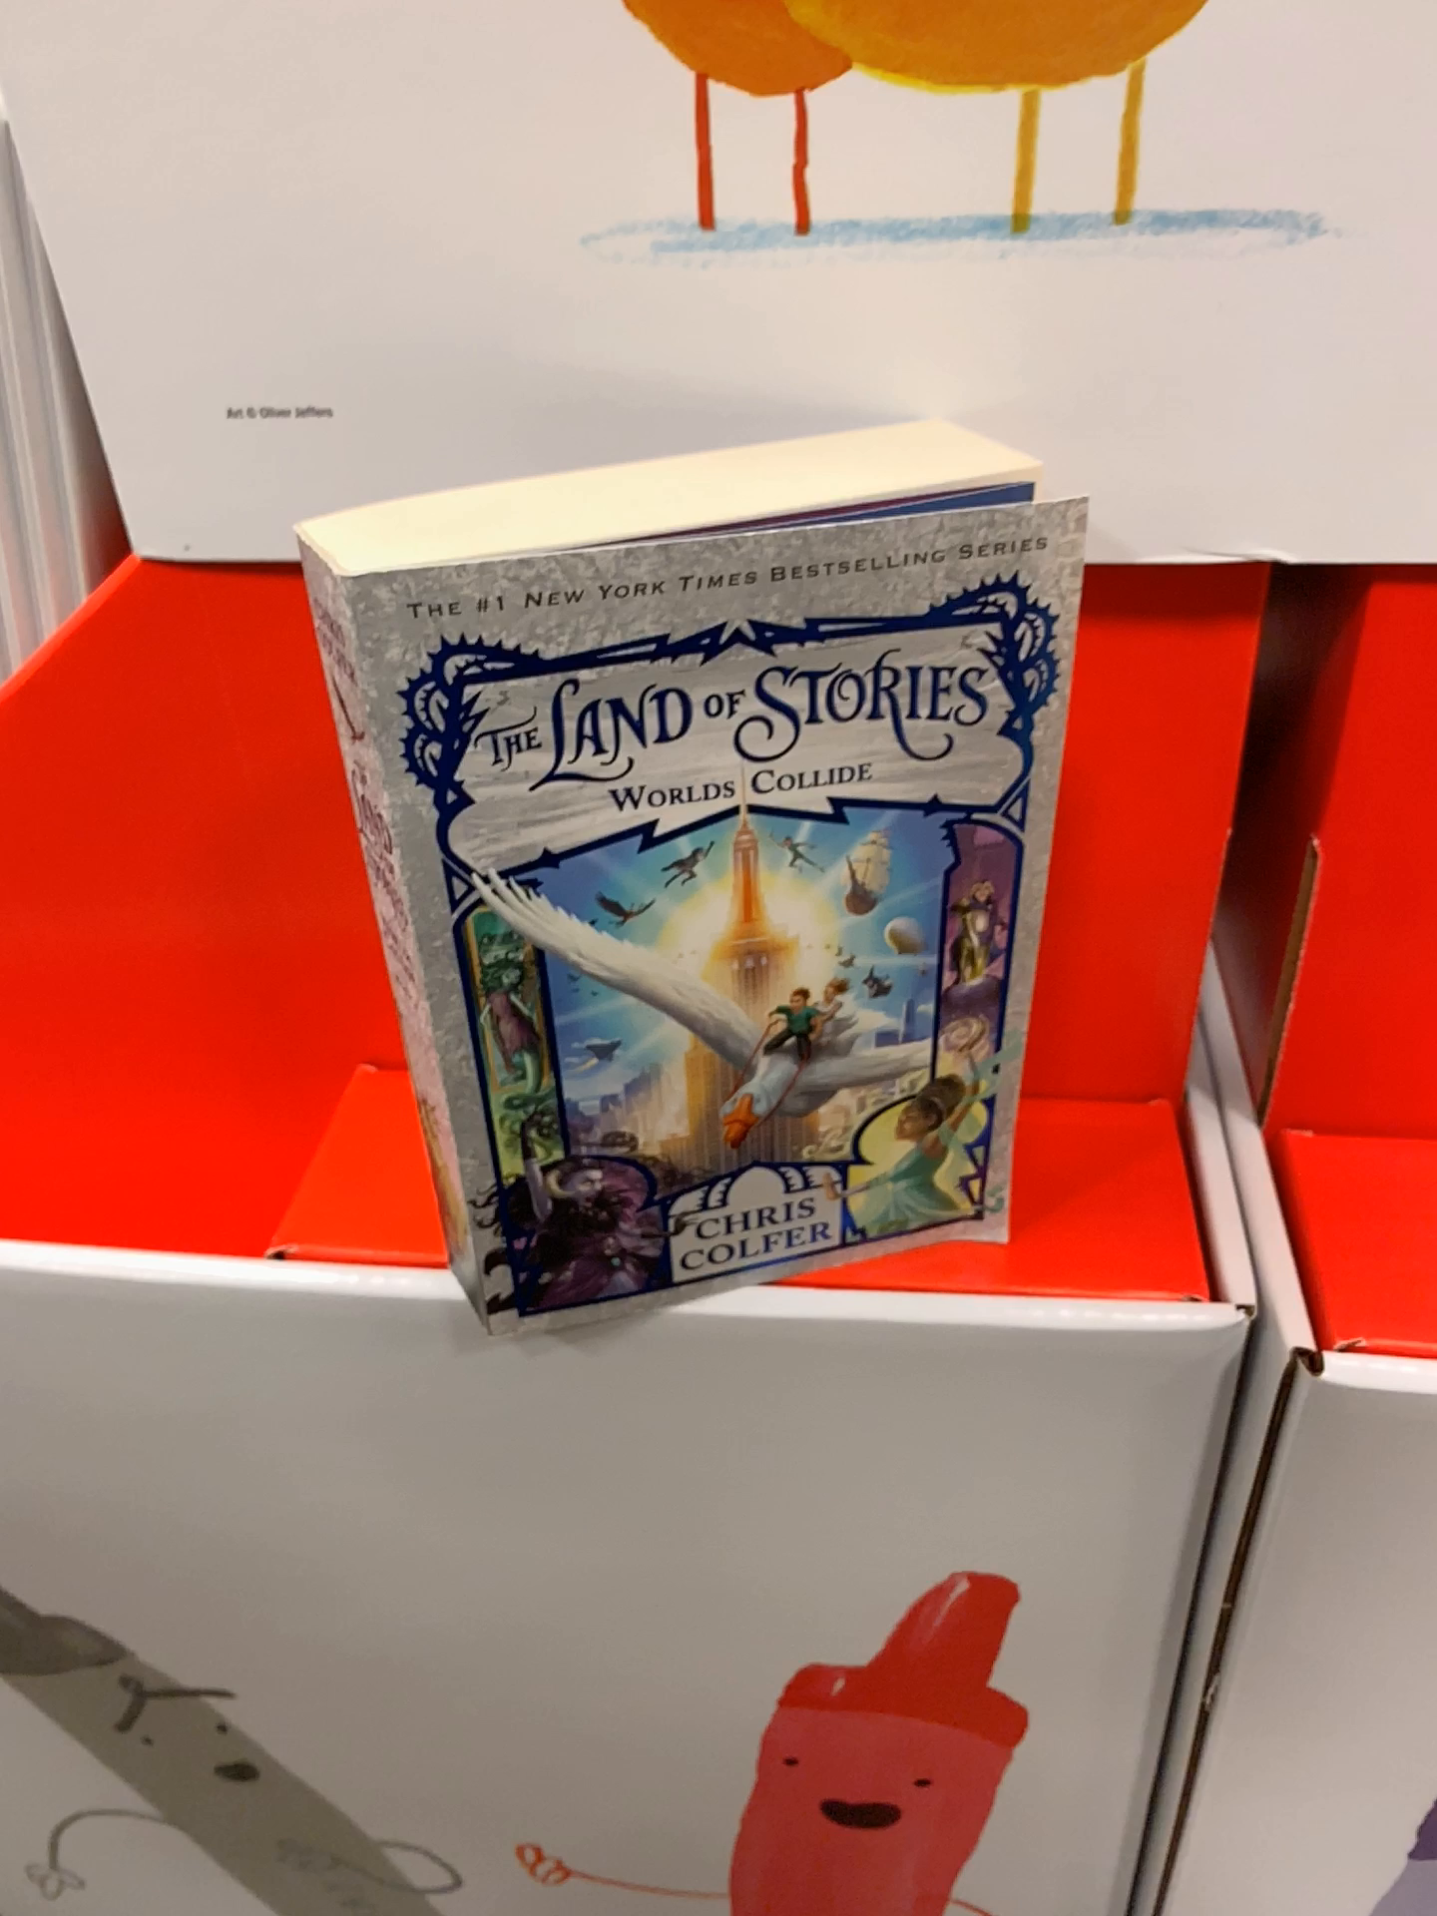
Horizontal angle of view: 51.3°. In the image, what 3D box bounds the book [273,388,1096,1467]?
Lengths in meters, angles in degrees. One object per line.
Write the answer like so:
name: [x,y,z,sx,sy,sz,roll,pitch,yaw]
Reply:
book: [-0.001,-0.003,0.316,0.130,0.193,0.065,-17,36,-18]
